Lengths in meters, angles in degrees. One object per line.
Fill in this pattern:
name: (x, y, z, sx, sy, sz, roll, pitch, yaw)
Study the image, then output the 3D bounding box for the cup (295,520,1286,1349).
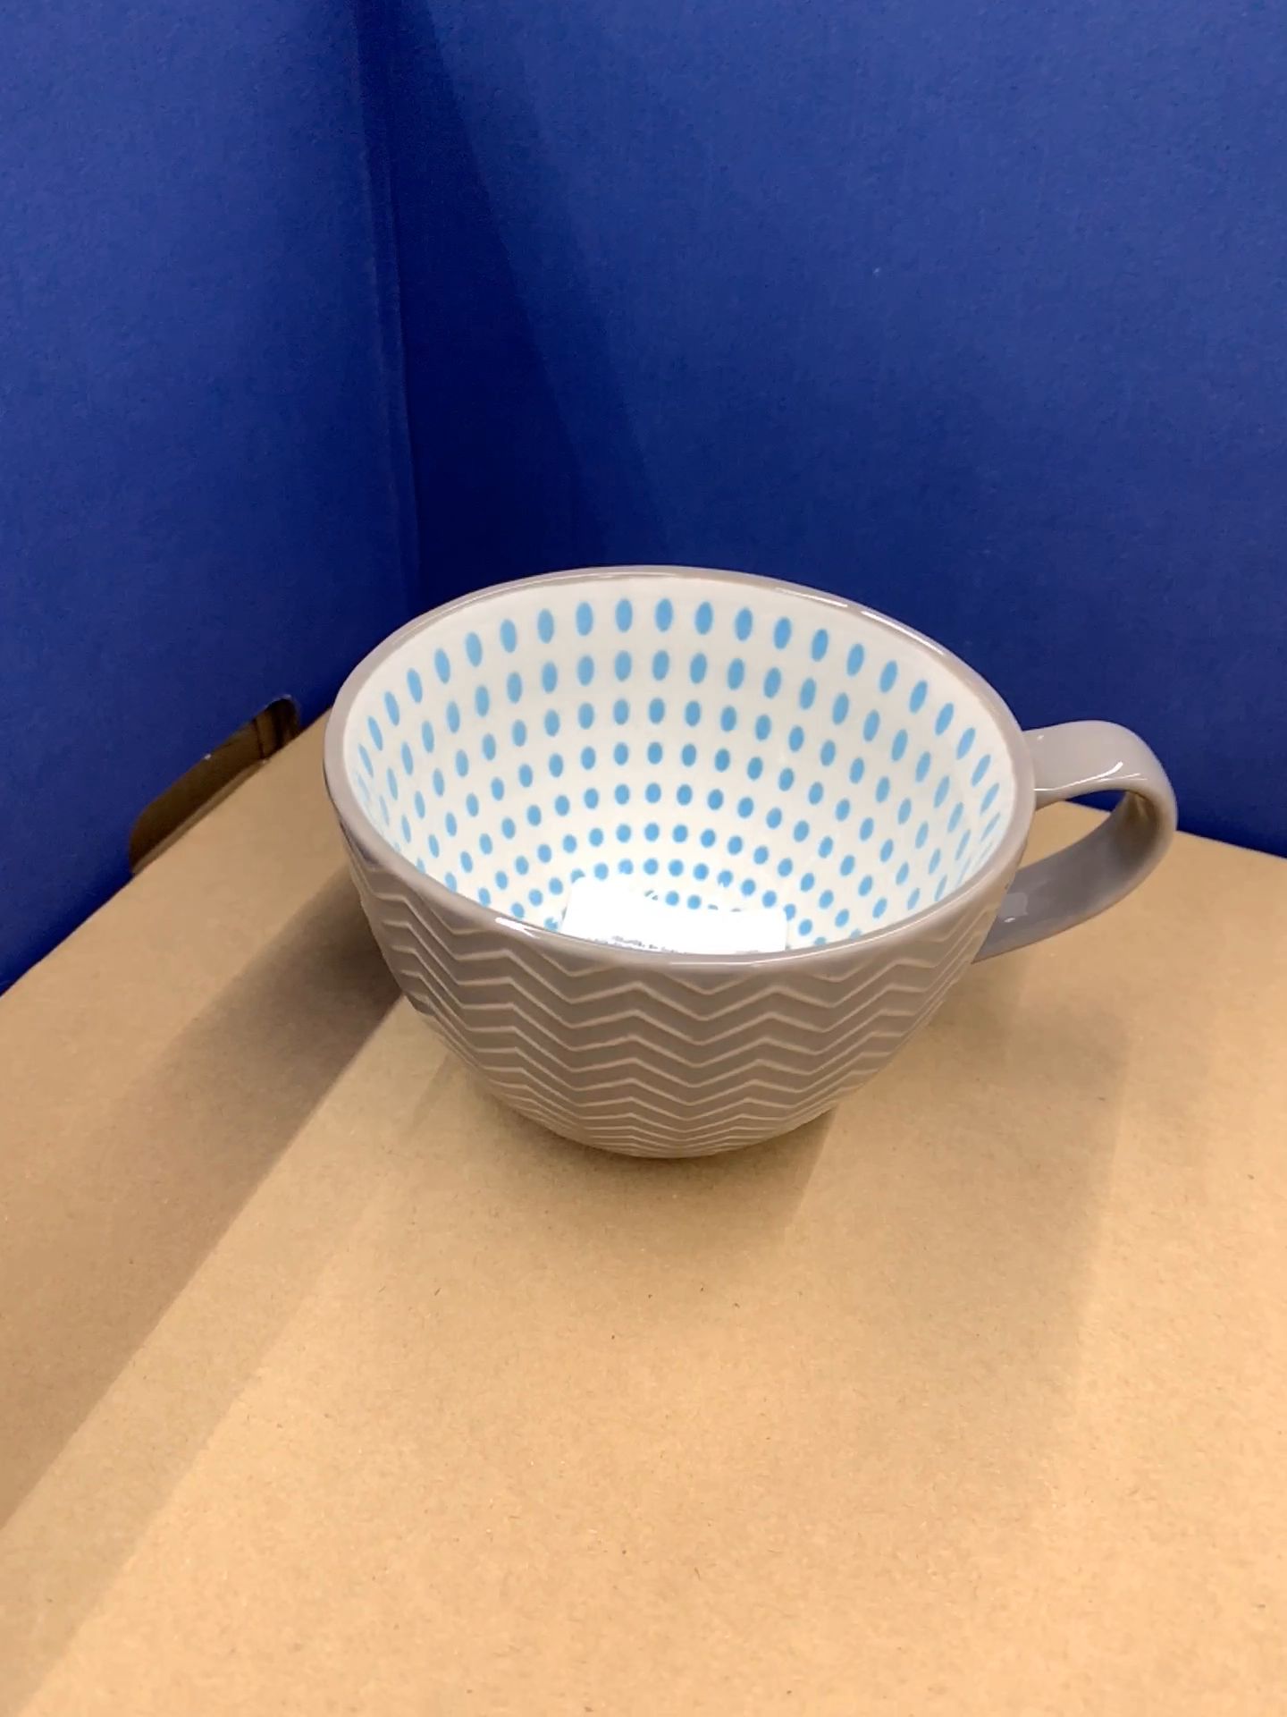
cup: (0.021, -0.001, 0.232, 0.143, 0.061, 0.119, -8, 38, -14)
